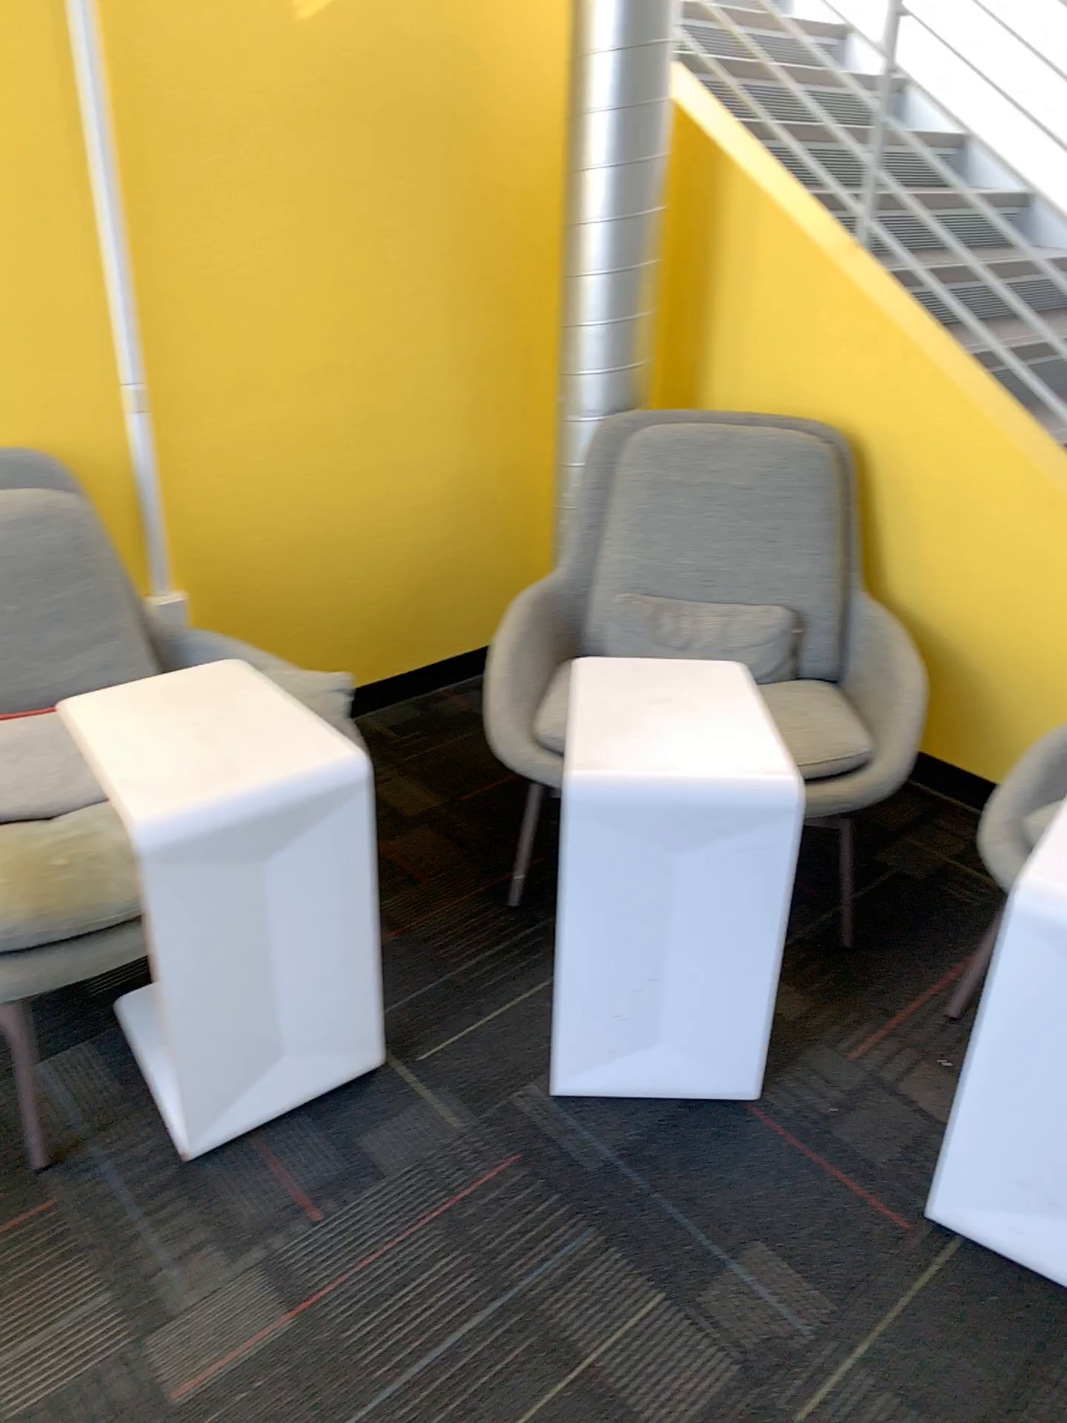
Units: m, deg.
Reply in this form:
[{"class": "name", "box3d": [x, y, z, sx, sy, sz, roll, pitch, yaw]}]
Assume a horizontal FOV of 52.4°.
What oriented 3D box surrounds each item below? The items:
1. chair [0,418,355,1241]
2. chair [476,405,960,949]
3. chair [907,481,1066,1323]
[{"class": "chair", "box3d": [-0.936, 0.071, 1.862, 0.873, 0.925, 0.802, 19, 31, 36]}, {"class": "chair", "box3d": [0.375, -0.141, 2.602, 0.890, 1.015, 0.844, 3, 23, 6]}, {"class": "chair", "box3d": [1.387, 0.191, 1.889, 0.880, 0.945, 0.875, -10, 28, -29]}]
